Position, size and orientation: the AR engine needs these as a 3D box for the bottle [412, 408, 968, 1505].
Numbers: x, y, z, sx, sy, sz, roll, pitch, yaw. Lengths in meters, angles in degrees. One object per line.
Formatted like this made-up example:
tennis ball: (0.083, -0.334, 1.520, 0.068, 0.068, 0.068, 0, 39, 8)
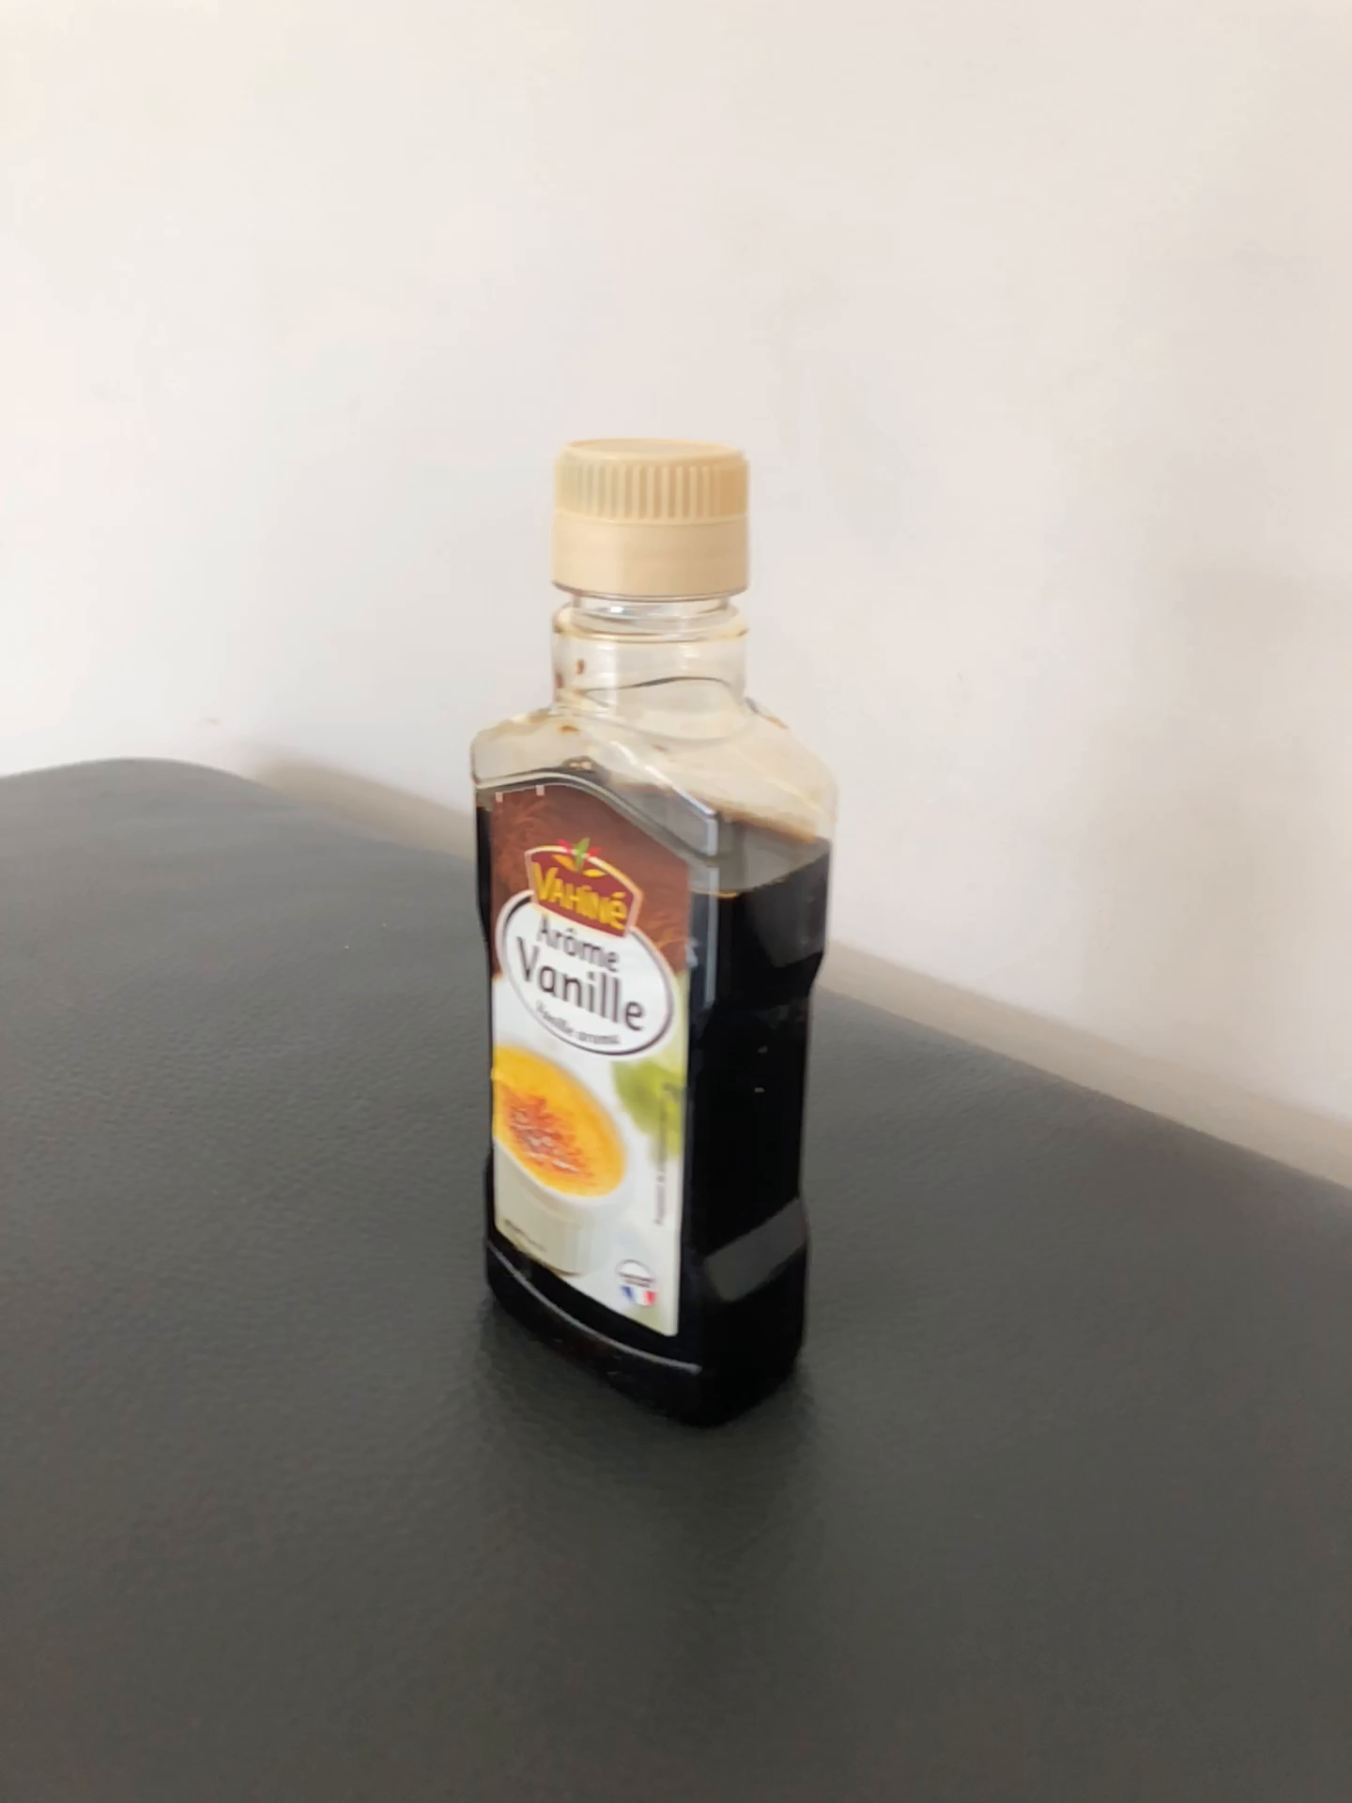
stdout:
bottle: (-0.002, 0.007, 0.243, 0.070, 0.159, 0.040, 20, 28, 36)
